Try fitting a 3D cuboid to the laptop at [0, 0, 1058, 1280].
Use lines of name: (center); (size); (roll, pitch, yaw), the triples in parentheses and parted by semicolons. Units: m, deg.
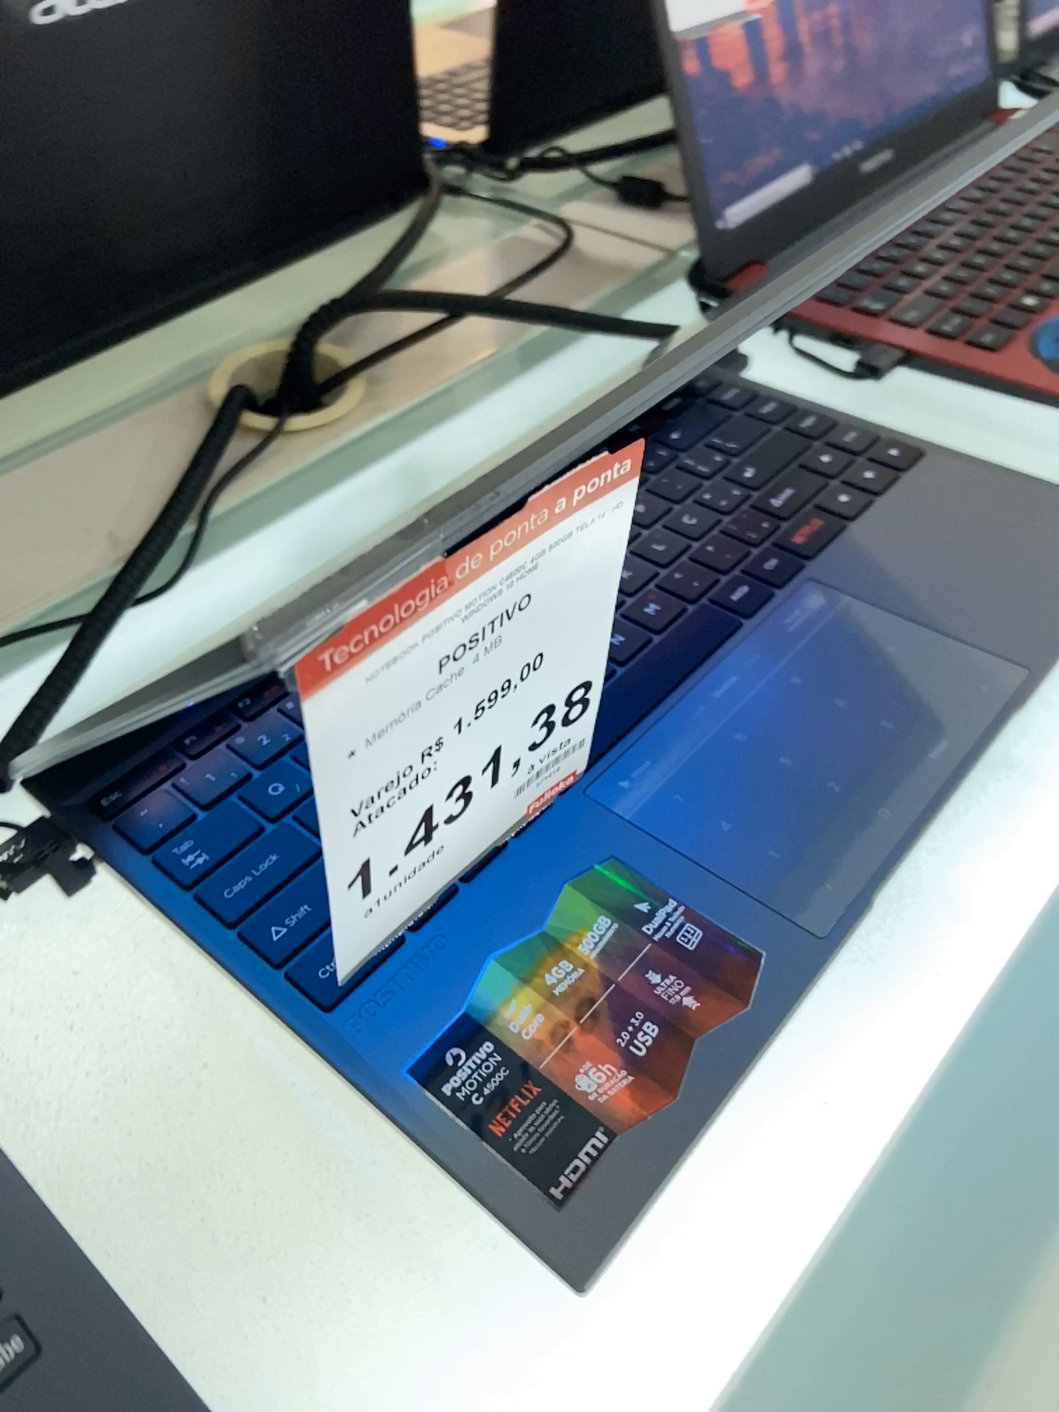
laptop: (0.033, -0.071, 0.310); (0.211, 0.139, 0.328); (30, 53, 29)
